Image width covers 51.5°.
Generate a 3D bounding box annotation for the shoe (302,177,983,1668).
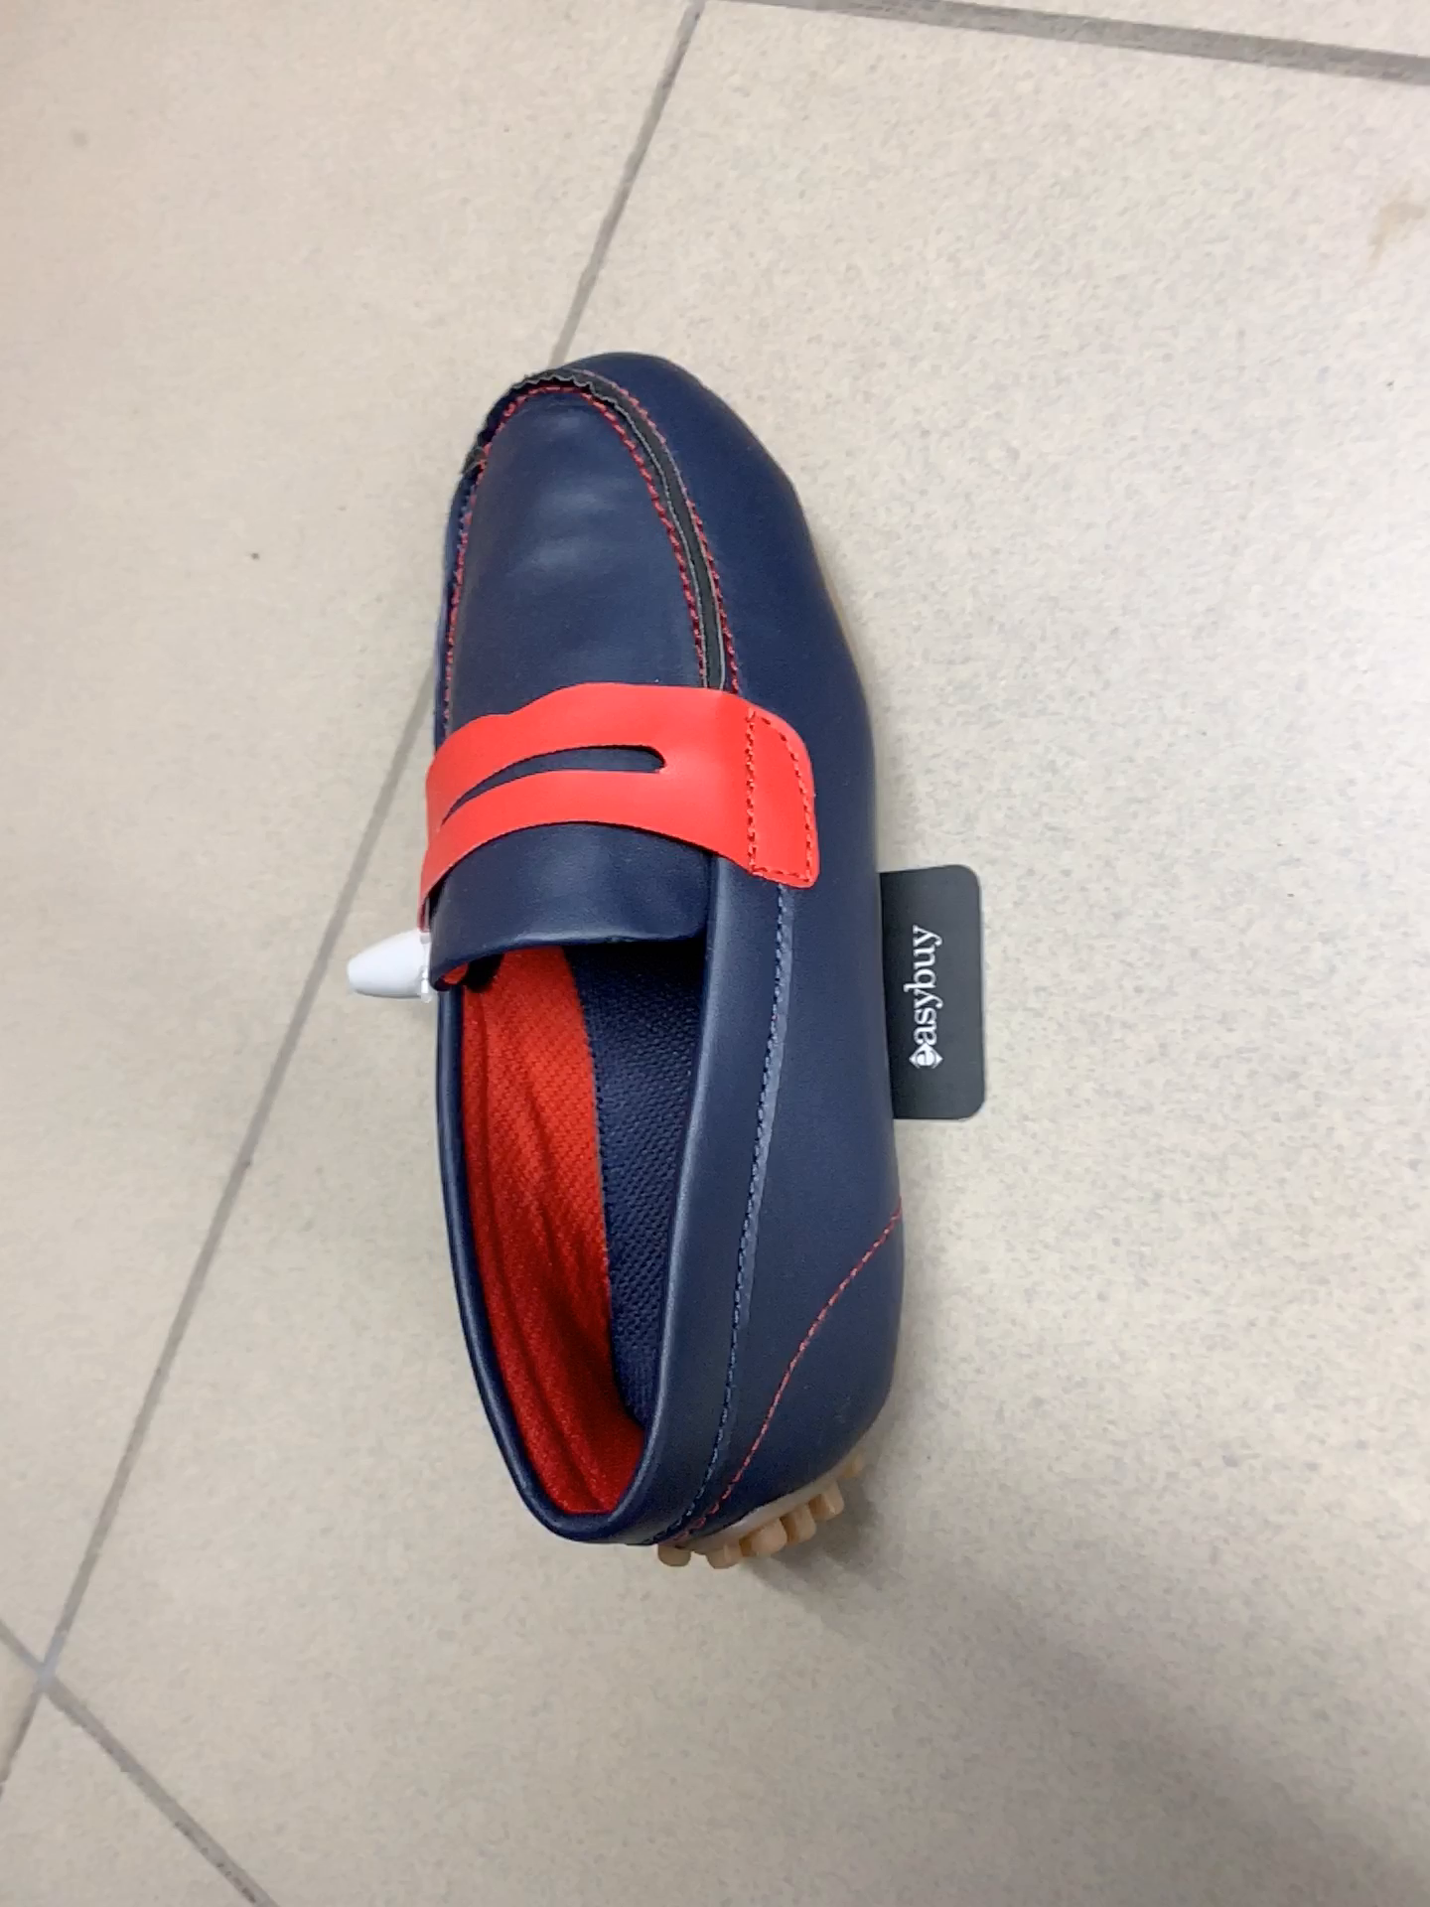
[{"bbox_3d":[-0.014,-0.004,0.236,0.080,0.050,0.200,-9,81,27],"label":"shoe"}]
